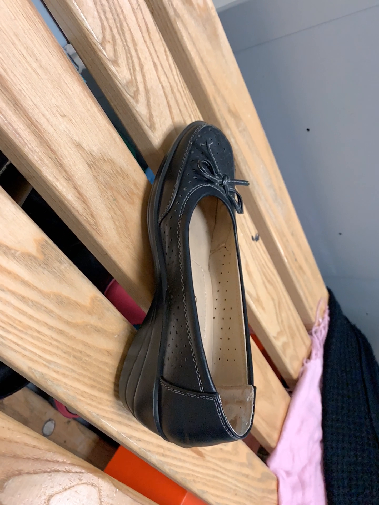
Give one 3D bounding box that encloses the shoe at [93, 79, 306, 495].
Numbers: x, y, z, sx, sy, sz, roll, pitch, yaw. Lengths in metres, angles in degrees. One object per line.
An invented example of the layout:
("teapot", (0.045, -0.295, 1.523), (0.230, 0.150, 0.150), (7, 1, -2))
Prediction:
("shoe", (0.018, 0.018, 0.317), (0.087, 0.109, 0.273), (26, 66, -50))
